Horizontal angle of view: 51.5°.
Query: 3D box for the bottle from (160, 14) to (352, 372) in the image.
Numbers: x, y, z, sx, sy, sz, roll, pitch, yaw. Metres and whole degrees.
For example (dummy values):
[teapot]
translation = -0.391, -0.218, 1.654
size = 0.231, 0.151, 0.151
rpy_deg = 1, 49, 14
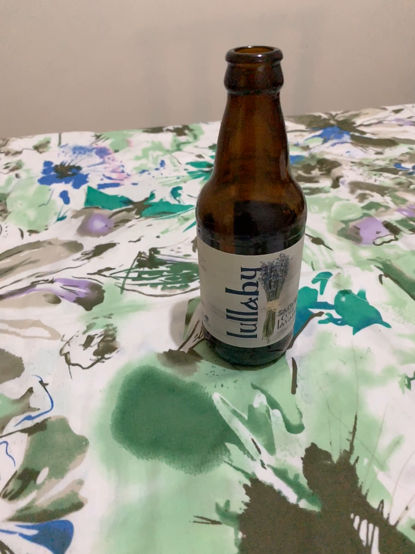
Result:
[bottle]
translation = 0.020, -0.036, 0.238
size = 0.070, 0.179, 0.070
rpy_deg = -2, 37, 1
